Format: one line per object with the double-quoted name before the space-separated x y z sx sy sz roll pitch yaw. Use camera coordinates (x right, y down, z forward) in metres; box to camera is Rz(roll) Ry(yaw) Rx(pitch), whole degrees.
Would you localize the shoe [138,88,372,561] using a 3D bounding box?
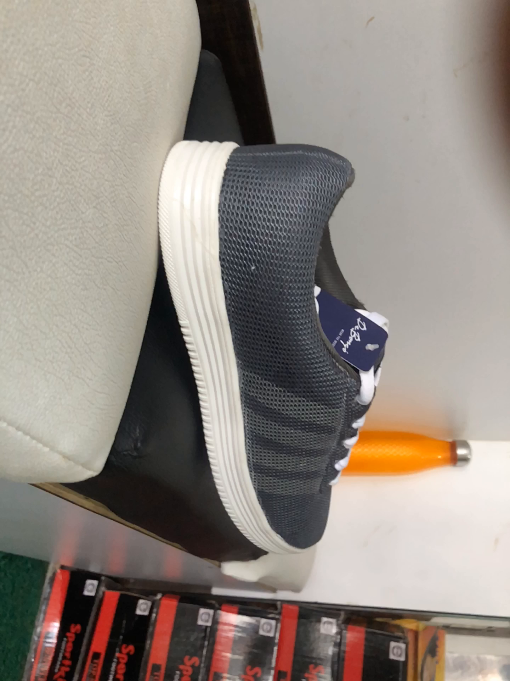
"shoe" 0.025 0.012 0.370 0.100 0.100 0.301 -77 163 -50
